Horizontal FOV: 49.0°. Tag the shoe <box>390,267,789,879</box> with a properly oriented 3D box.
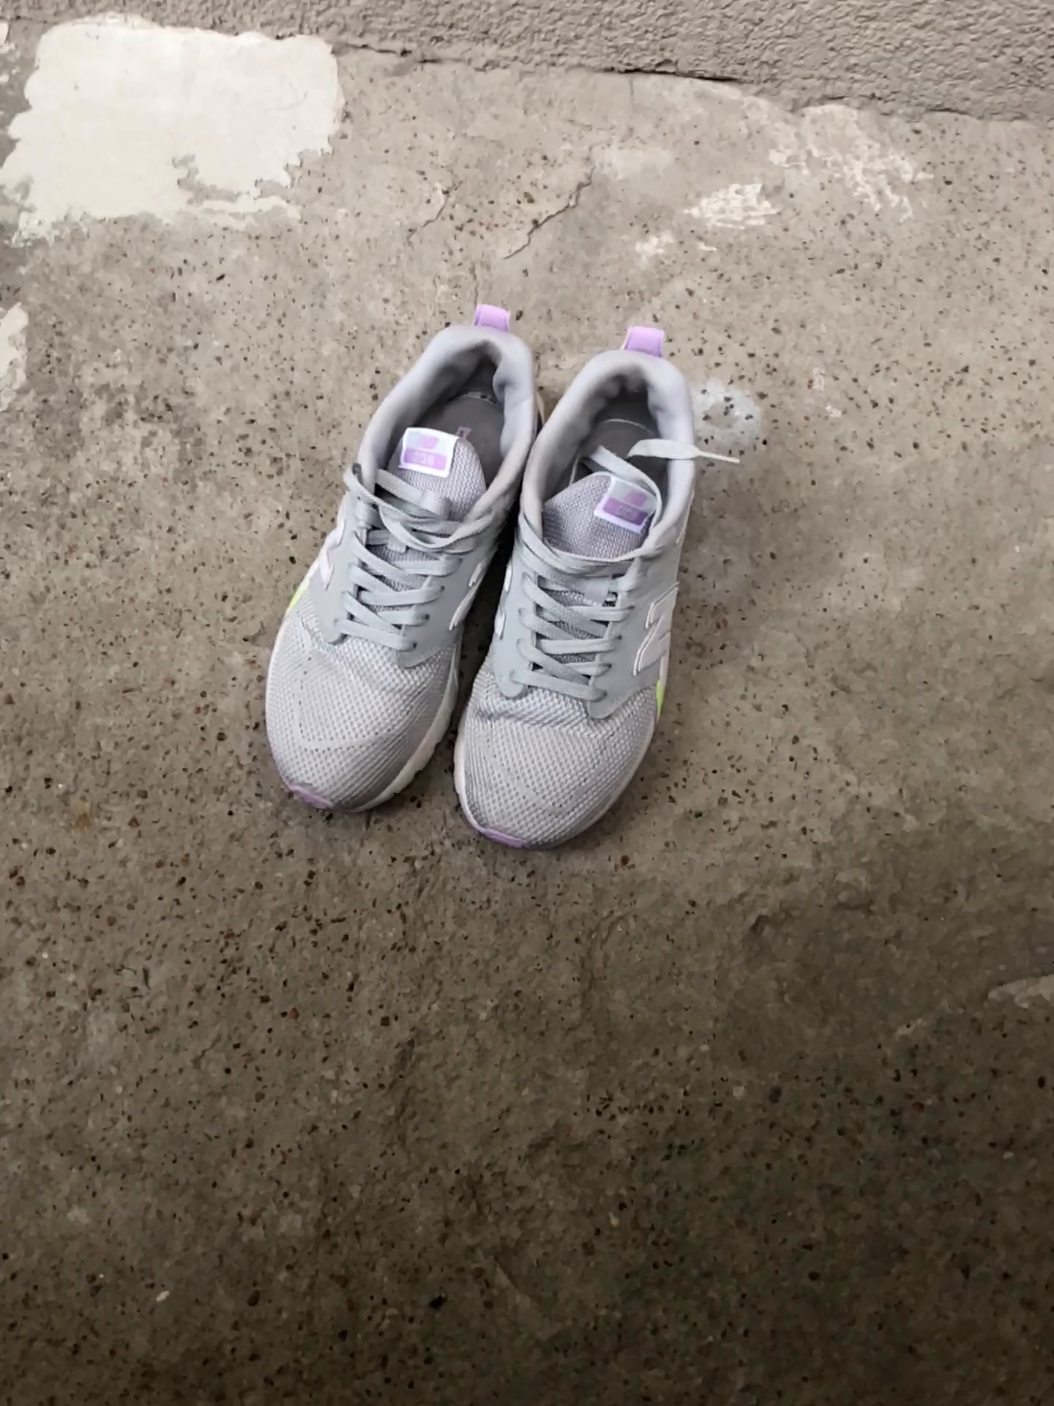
[{"bbox_3d":[0.034,-0.063,0.584,0.110,0.100,0.271,17,76,5],"label":"shoe"}]

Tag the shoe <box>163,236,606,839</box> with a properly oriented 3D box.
[{"bbox_3d":[-0.062,-0.082,0.595,0.110,0.100,0.271,21,76,6],"label":"shoe"}]
